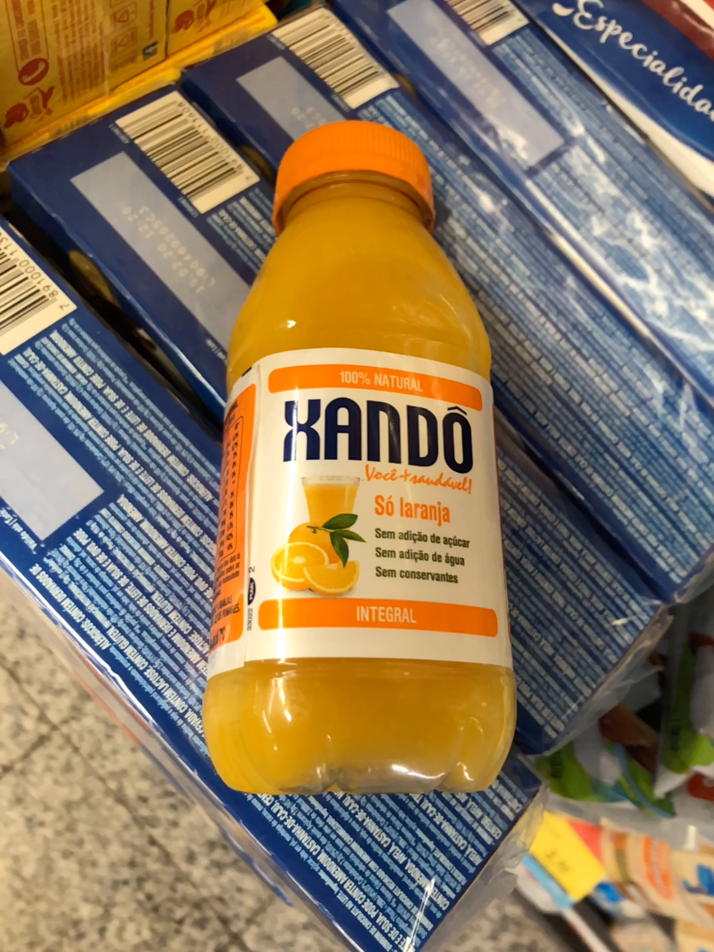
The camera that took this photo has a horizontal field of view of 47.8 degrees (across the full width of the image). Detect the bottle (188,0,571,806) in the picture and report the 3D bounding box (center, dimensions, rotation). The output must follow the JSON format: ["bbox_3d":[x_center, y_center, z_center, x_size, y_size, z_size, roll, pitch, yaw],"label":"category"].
[{"bbox_3d":[-0.003,-0.017,0.194,0.060,0.080,0.170,4,72,-15],"label":"bottle"}]
